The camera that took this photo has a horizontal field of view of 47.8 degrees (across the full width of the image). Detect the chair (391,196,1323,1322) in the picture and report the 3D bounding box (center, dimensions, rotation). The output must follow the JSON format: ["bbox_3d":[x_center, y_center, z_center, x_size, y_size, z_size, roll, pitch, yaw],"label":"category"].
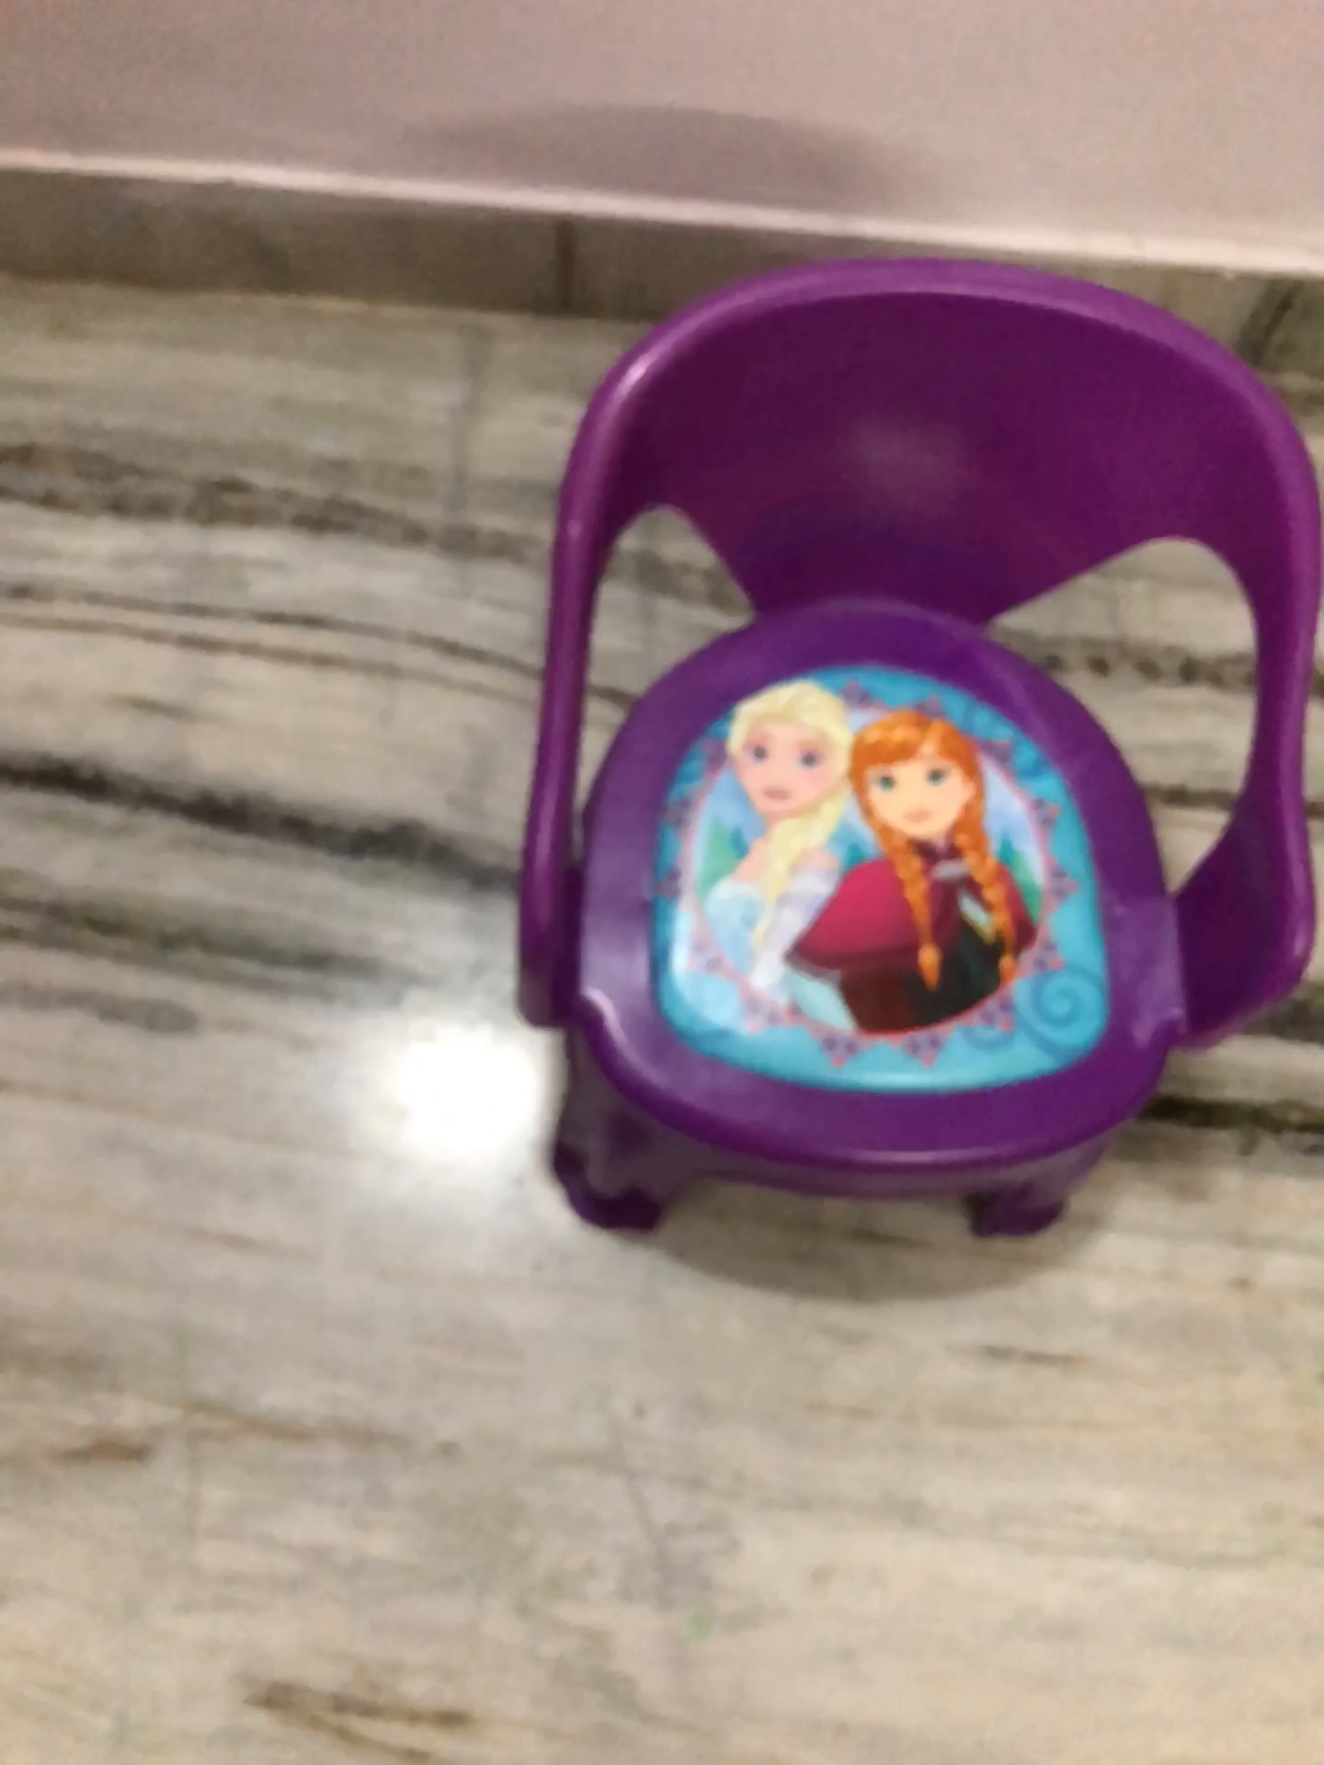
[{"bbox_3d":[0.089,-0.018,0.703,0.350,0.349,0.391,5,70,-3],"label":"chair"}]
